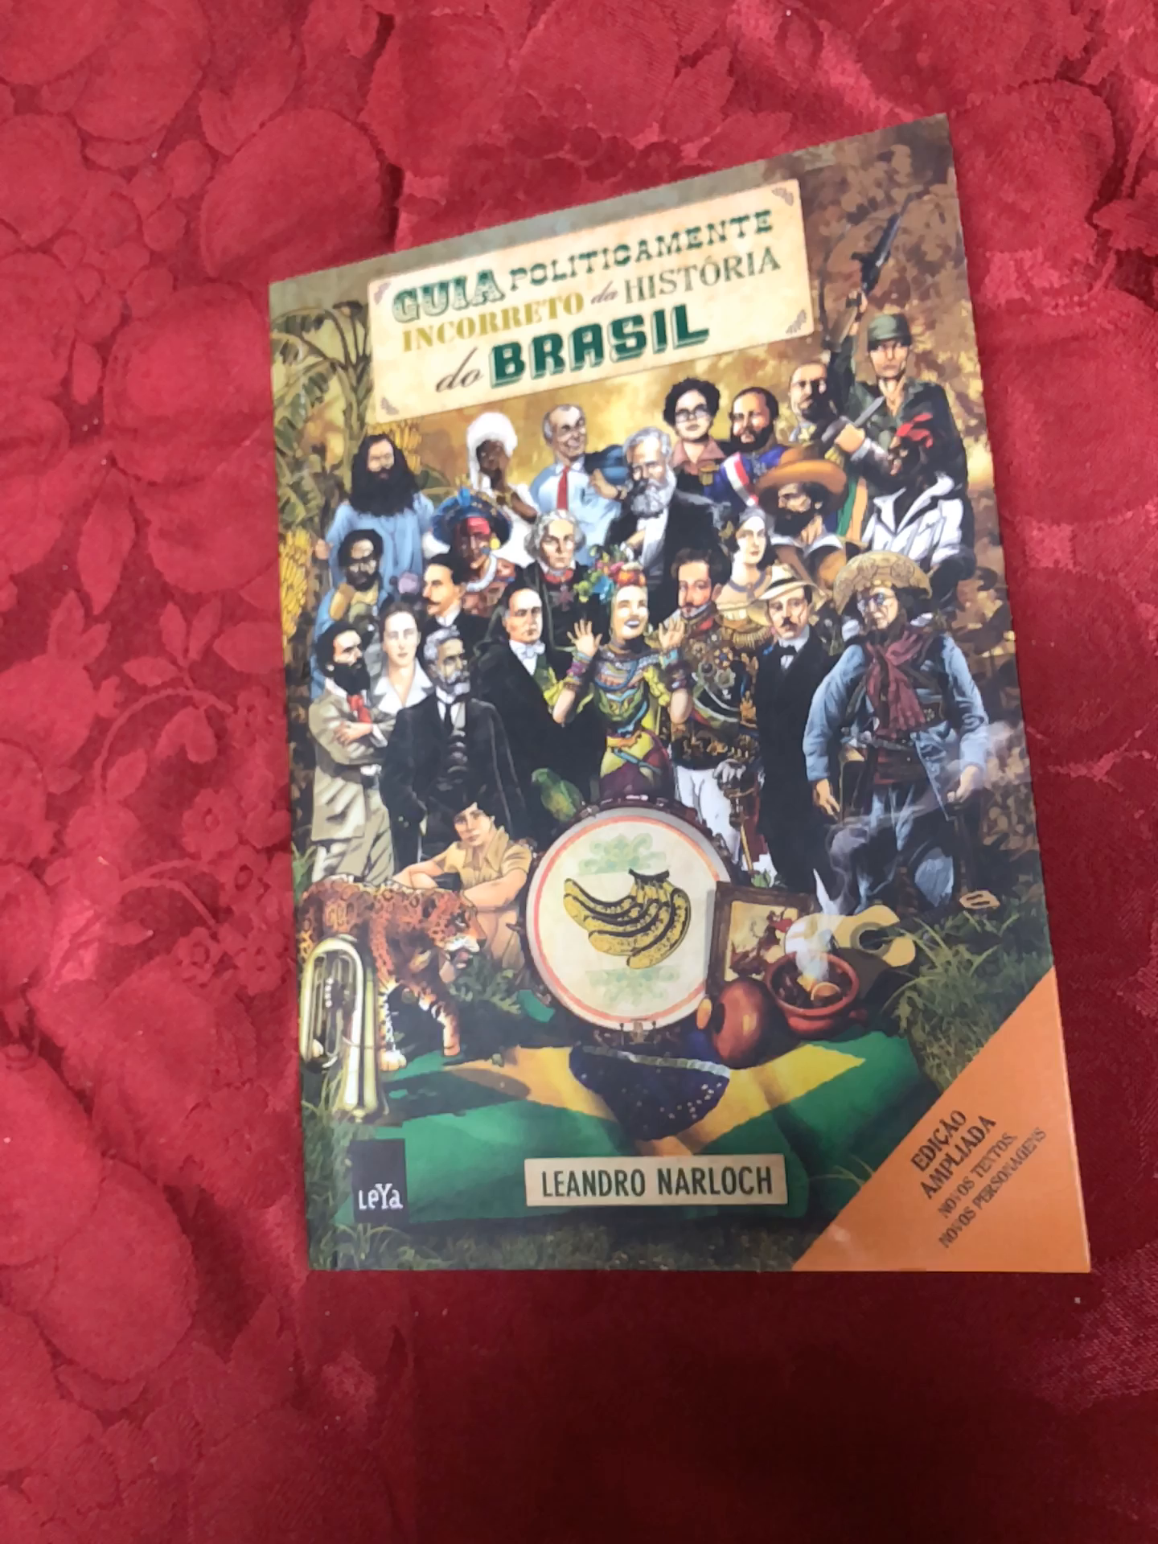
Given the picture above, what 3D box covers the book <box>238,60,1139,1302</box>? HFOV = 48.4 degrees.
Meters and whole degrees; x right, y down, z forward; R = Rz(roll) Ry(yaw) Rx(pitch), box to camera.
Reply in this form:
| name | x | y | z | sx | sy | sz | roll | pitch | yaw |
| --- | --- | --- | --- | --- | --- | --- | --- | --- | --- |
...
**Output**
| name | x | y | z | sx | sy | sz | roll | pitch | yaw |
| --- | --- | --- | --- | --- | --- | --- | --- | --- | --- |
| book | 0.014 | -0.012 | 0.273 | 0.160 | 0.030 | 0.230 | -8 | 83 | 17 |
